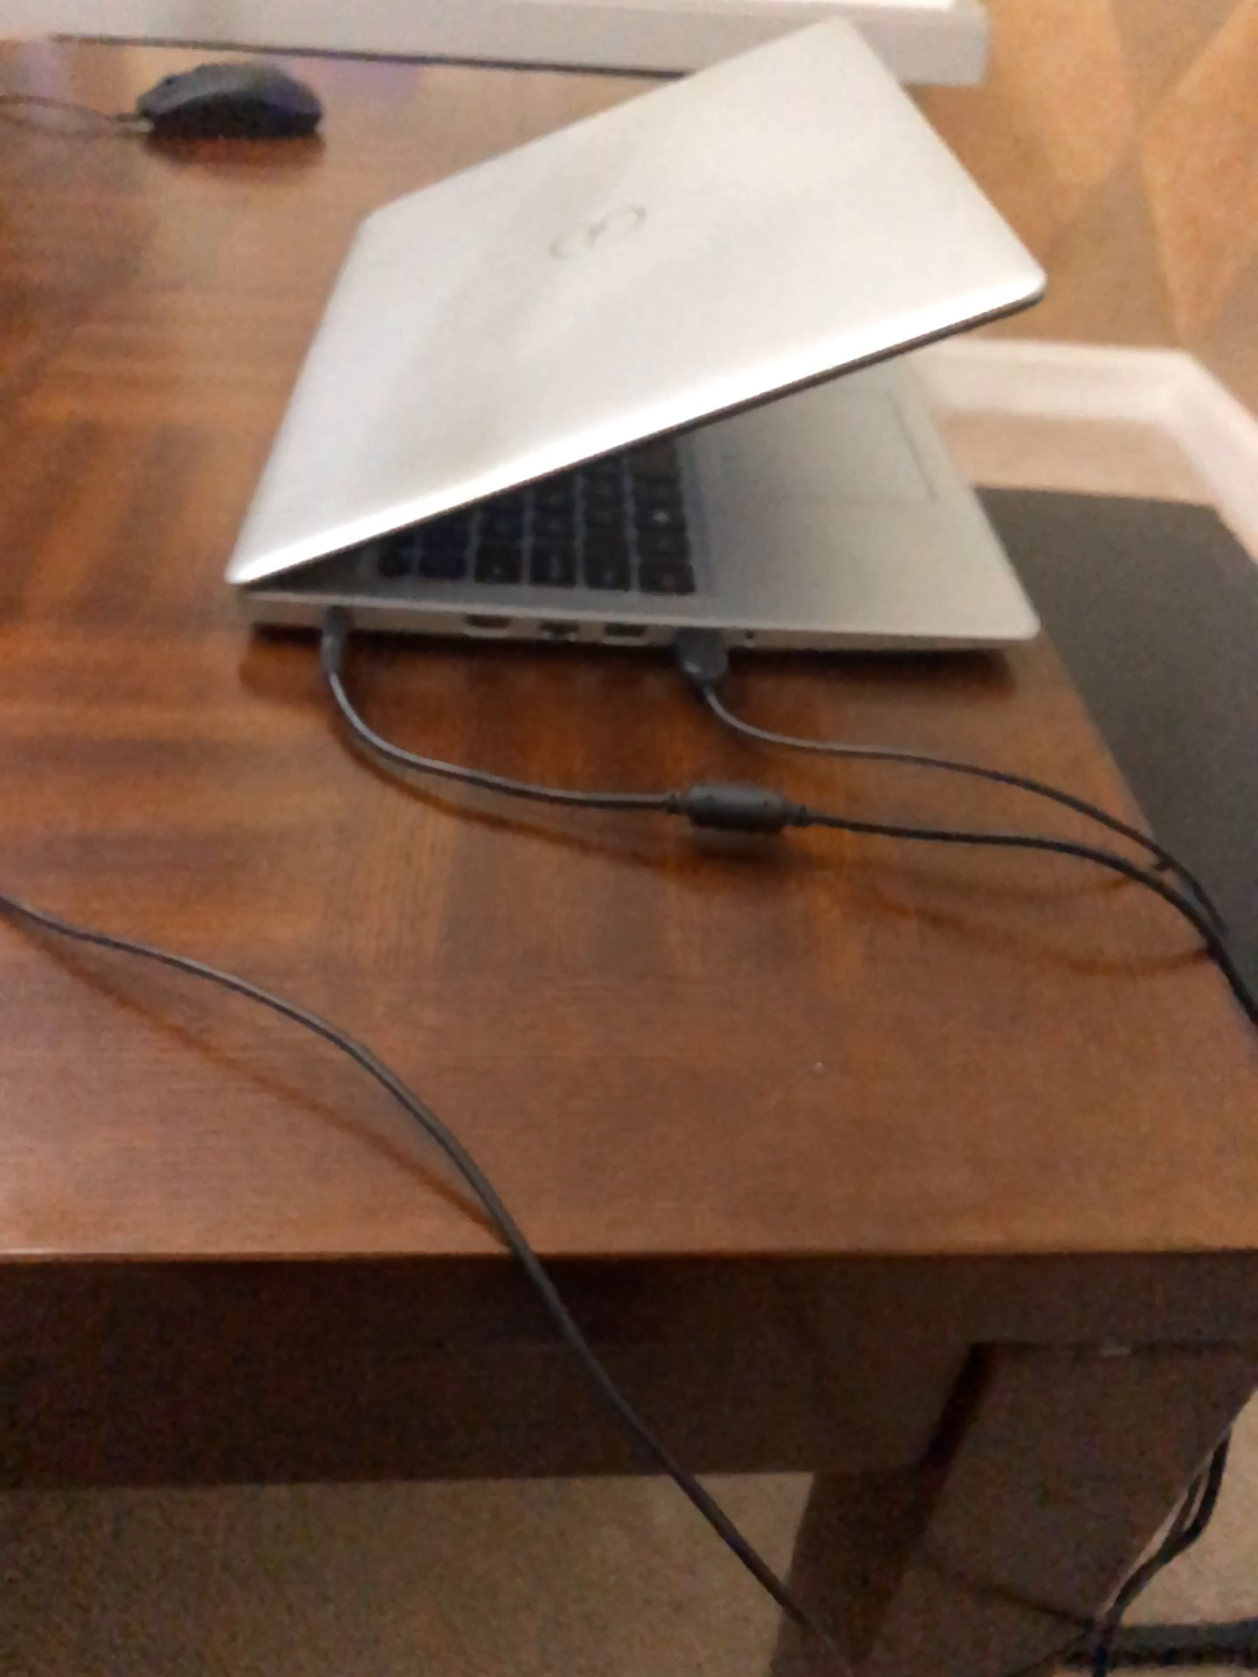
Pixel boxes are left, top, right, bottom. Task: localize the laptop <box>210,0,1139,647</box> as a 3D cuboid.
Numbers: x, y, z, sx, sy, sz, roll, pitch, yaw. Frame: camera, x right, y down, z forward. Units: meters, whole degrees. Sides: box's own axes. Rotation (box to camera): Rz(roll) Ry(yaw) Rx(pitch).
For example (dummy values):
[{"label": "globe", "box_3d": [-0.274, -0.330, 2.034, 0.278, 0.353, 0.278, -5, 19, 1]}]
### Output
[{"label": "laptop", "box_3d": [0.007, -0.226, 0.546, 0.249, 0.103, 0.371, 3, 40, -6]}]
